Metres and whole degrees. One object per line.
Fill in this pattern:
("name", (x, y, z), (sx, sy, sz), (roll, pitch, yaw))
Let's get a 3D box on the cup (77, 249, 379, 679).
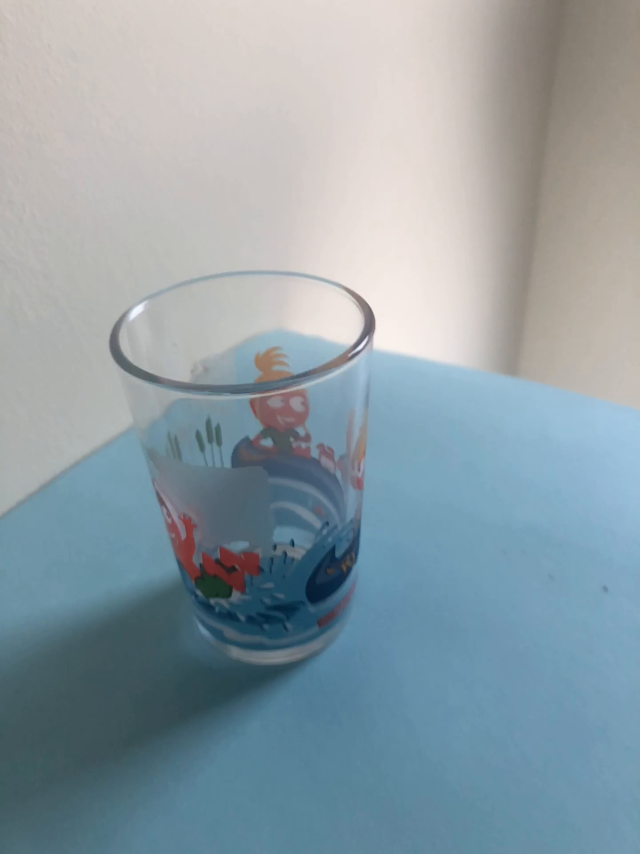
("cup", (-0.015, 0.010, 0.197), (0.060, 0.099, 0.060), (-2, 34, 1))
